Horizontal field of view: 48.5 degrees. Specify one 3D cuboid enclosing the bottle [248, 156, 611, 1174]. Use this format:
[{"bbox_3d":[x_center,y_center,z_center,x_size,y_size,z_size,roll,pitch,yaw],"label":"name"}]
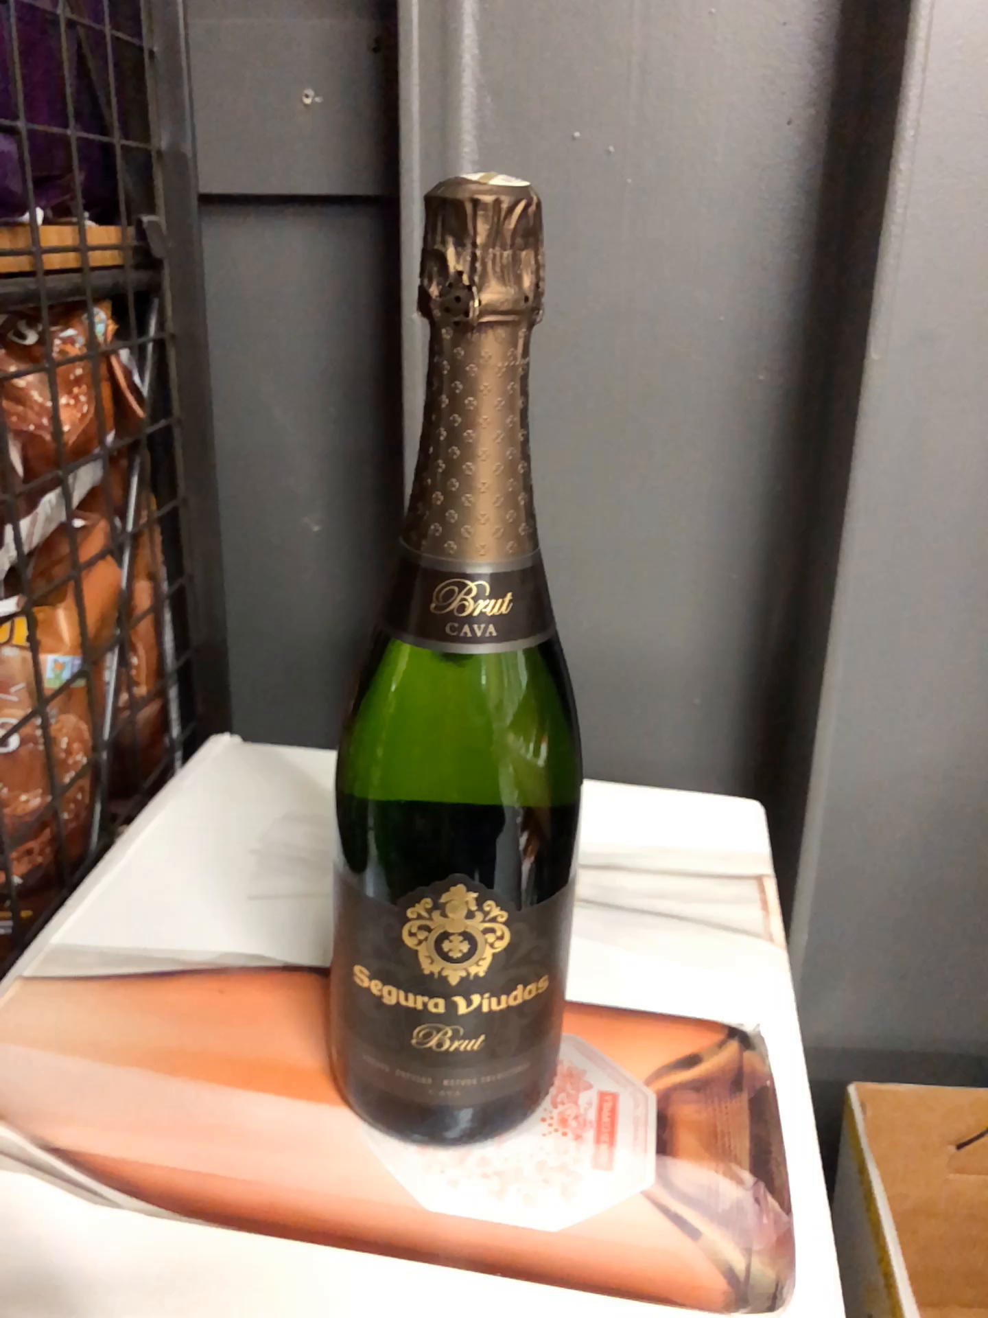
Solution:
[{"bbox_3d":[-0.019,0.013,0.368,0.090,0.326,0.084,1,21,0],"label":"bottle"}]
